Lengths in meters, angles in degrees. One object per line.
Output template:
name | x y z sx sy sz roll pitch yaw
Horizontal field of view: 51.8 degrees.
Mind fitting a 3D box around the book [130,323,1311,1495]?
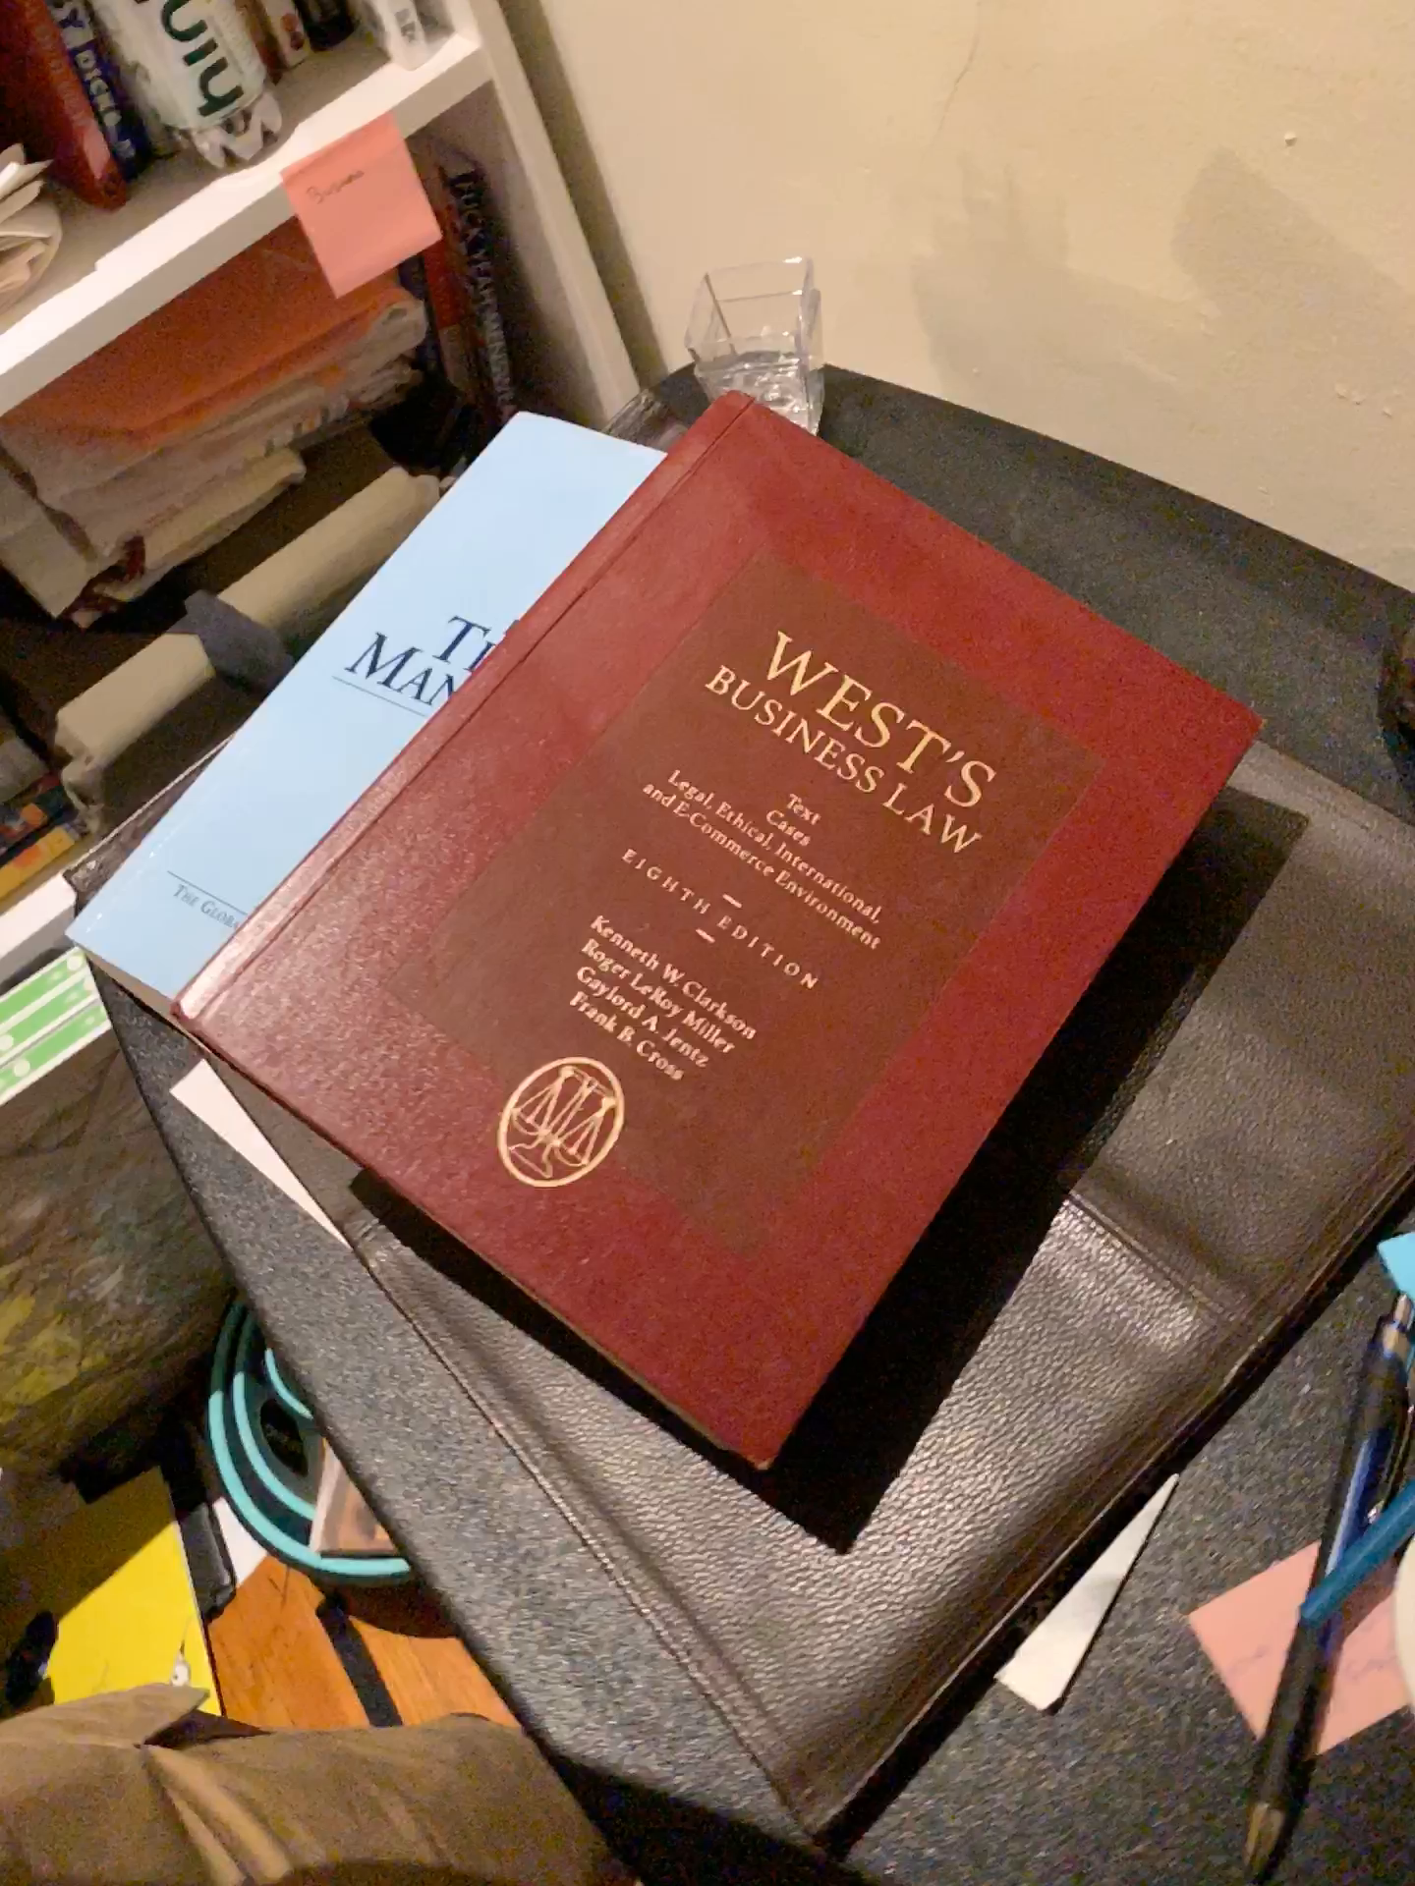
book | 0.013 -0.023 0.426 0.210 0.050 0.270 35 73 7

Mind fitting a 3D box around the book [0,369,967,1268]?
book | -0.079 -0.065 0.514 0.221 0.070 0.270 27 70 30
